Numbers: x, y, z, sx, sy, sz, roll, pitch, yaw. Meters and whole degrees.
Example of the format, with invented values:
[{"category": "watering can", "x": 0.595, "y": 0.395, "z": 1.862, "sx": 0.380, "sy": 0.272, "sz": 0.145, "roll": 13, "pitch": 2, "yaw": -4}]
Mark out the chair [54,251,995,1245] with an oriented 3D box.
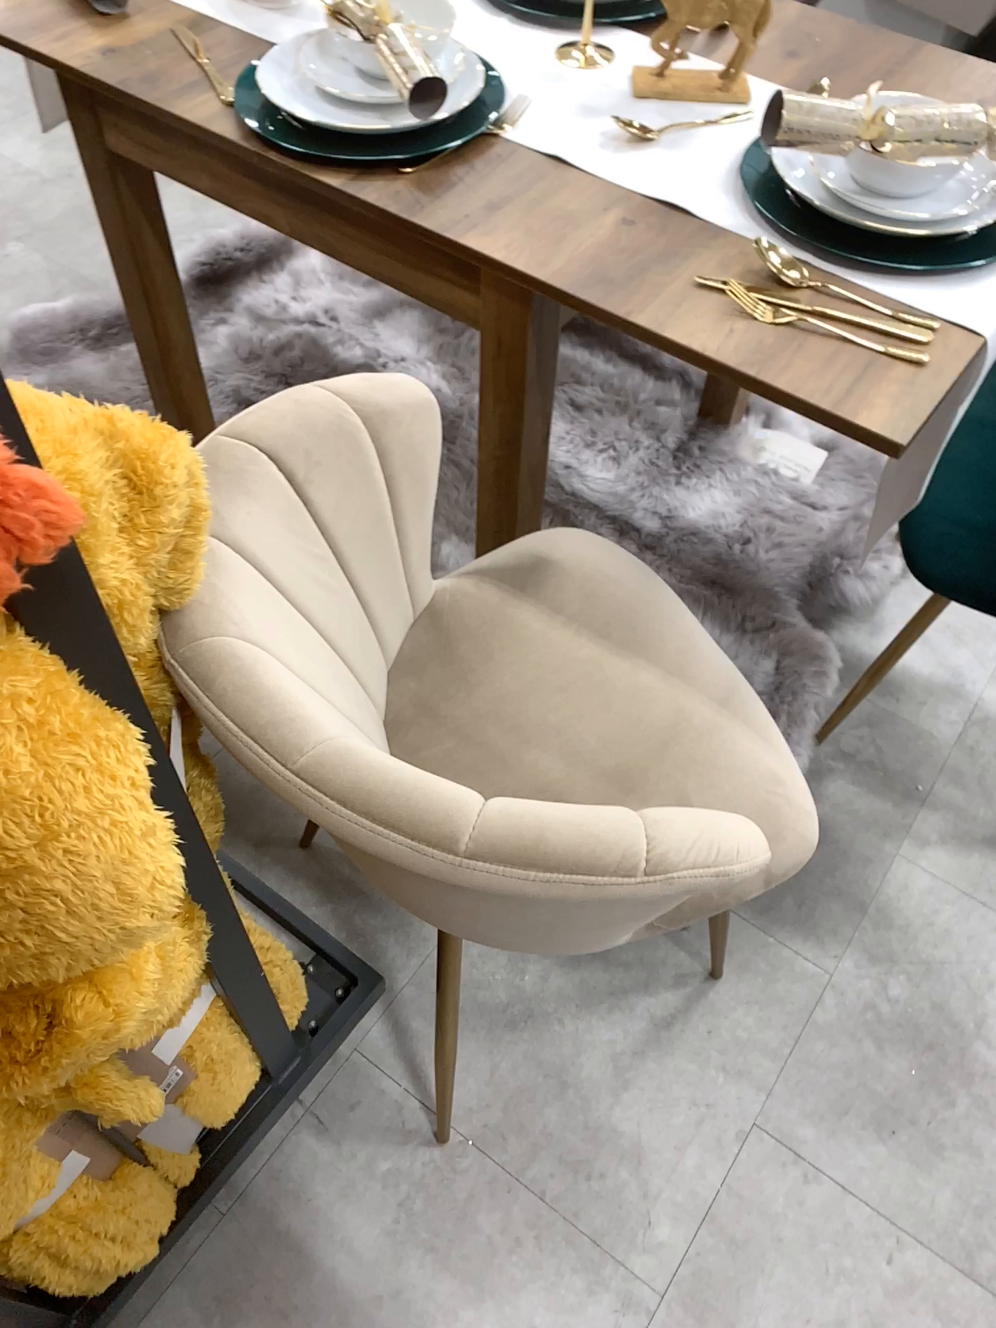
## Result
[{"category": "chair", "x": 0.017, "y": 0.101, "z": 1.027, "sx": 0.573, "sy": 0.667, "sz": 0.565, "roll": -23, "pitch": 57, "yaw": -18}]
